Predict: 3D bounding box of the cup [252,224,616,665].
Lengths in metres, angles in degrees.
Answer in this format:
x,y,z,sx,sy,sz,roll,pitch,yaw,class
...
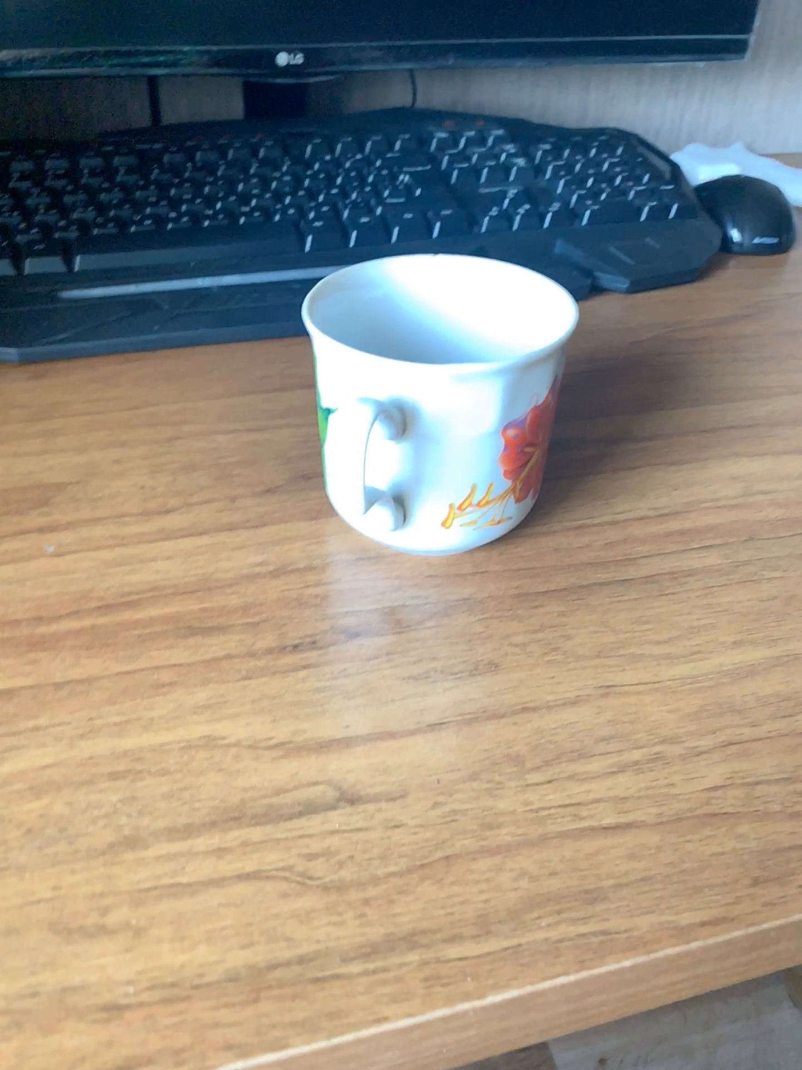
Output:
x,y,z,sx,sy,sz,roll,pitch,yaw,class
0.016,-0.035,0.255,0.070,0.080,0.110,13,39,16,cup
